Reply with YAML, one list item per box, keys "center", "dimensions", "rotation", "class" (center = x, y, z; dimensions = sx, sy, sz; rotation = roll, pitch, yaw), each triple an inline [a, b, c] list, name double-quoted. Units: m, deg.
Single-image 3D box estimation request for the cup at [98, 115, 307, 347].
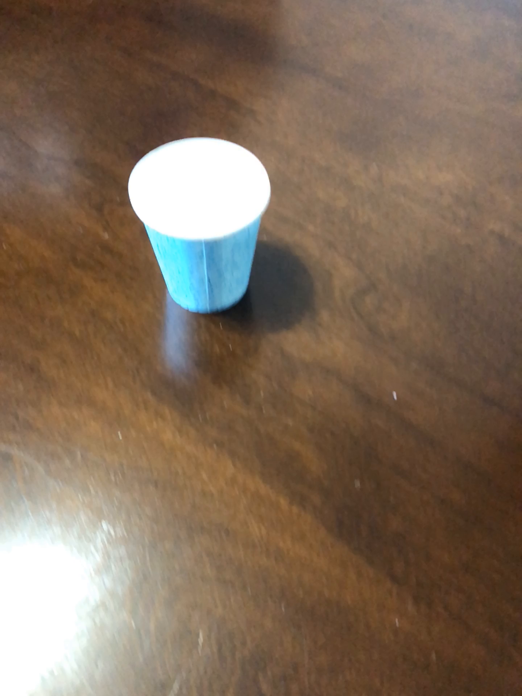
- center: [-0.024, -0.052, 0.262]
  dimensions: [0.060, 0.060, 0.060]
  rotation: [1, 55, -1]
  class: "cup"
